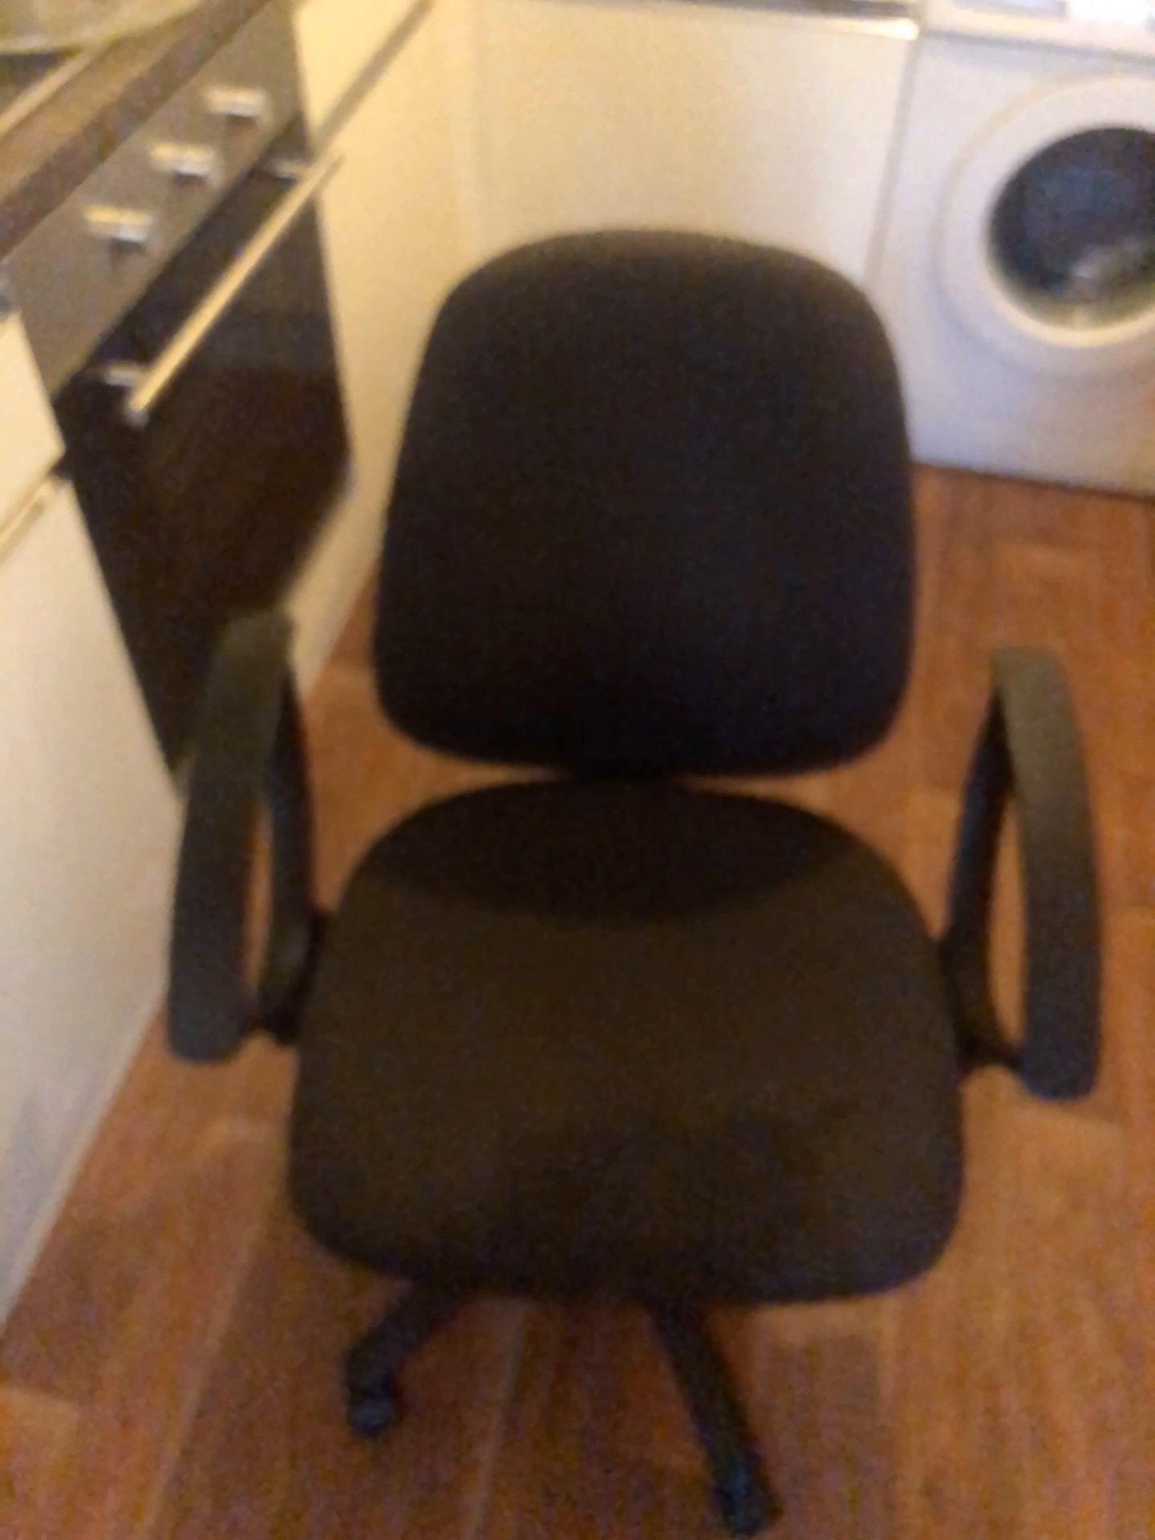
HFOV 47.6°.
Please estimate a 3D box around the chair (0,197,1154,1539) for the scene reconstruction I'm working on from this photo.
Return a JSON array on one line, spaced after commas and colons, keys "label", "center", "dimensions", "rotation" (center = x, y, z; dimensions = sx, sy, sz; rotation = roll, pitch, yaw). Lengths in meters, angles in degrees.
[{"label": "chair", "center": [0.045, 0.096, 1.135], "dimensions": [0.685, 0.756, 0.879], "rotation": [4, 48, 2]}]
